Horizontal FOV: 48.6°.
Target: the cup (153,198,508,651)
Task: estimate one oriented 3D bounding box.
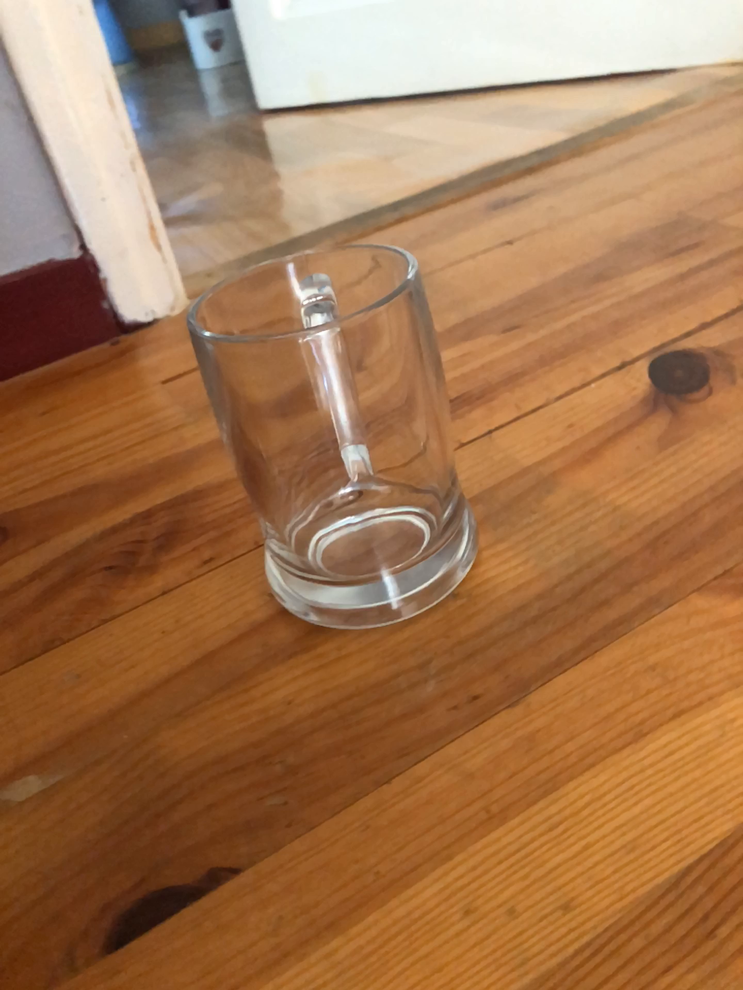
[{"bbox_3d":[-0.009,-0.032,0.313,0.091,0.110,0.129,-9,33,5],"label":"cup"}]
